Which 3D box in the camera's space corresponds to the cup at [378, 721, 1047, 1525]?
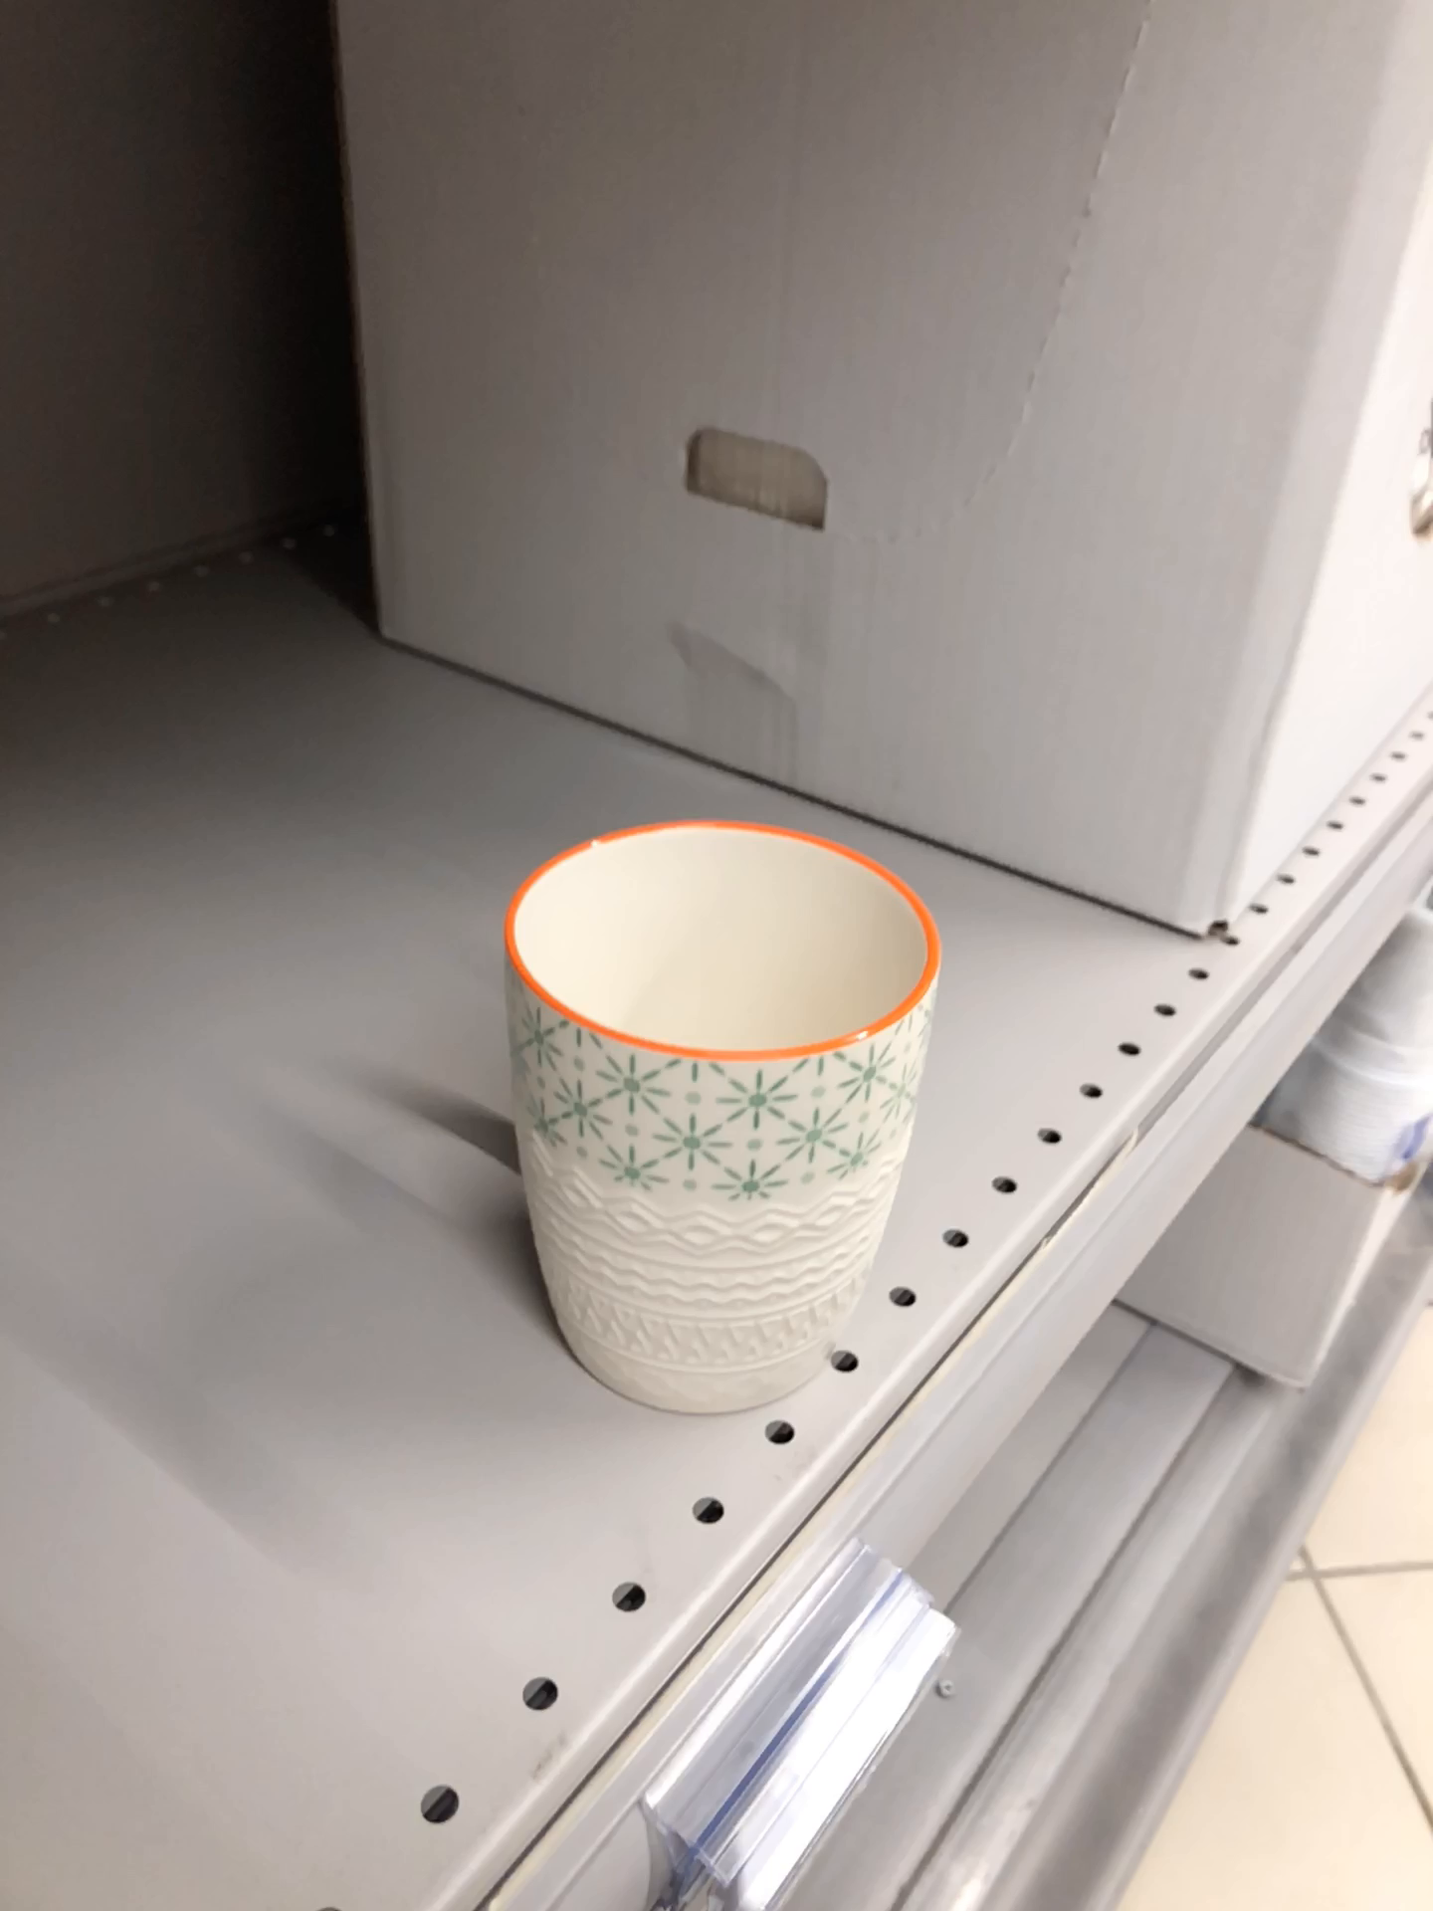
[{"bbox_3d":[-0.006,0.029,0.343,0.093,0.100,0.118,-15,39,-19],"label":"cup"}]
